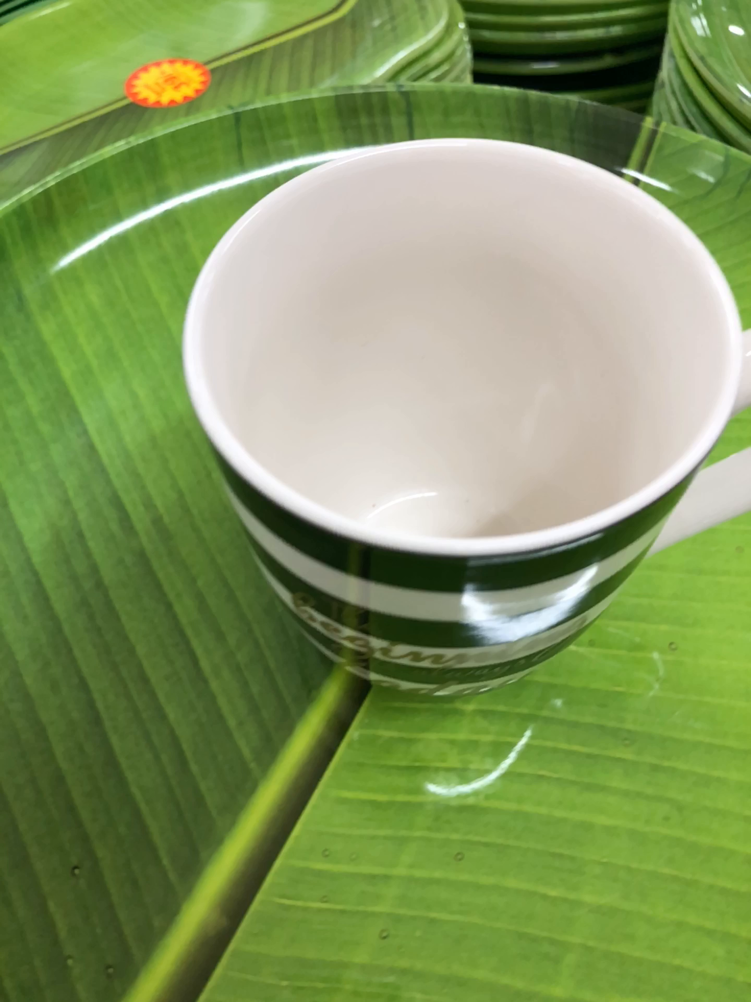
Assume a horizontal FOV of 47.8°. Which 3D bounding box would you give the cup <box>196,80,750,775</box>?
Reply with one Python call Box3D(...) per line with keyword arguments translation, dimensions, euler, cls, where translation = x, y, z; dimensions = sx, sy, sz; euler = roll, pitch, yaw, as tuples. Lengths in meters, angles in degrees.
Box3D(translation=(0.041, -0.010, 0.154), dimensions=(0.130, 0.080, 0.080), euler=(-7, 56, -3), cls="cup")
